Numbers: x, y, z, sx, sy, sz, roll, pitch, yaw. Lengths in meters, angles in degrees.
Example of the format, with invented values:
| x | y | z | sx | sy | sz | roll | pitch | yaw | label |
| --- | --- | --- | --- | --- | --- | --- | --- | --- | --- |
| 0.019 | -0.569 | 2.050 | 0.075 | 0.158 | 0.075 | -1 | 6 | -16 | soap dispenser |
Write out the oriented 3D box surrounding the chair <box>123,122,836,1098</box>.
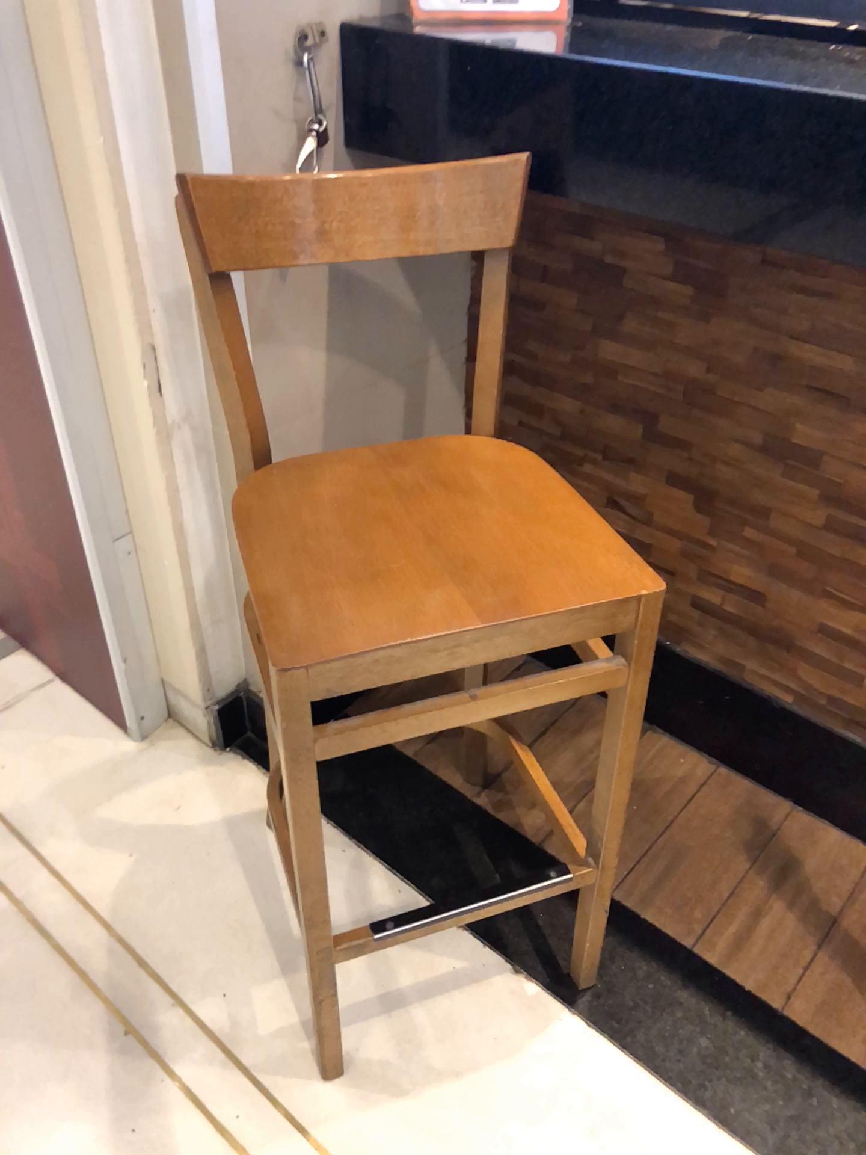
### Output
| x | y | z | sx | sy | sz | roll | pitch | yaw | label |
| --- | --- | --- | --- | --- | --- | --- | --- | --- | --- |
| -0.014 | 0.051 | 1.160 | 0.481 | 0.992 | 0.533 | -12 | 39 | -18 | chair |
